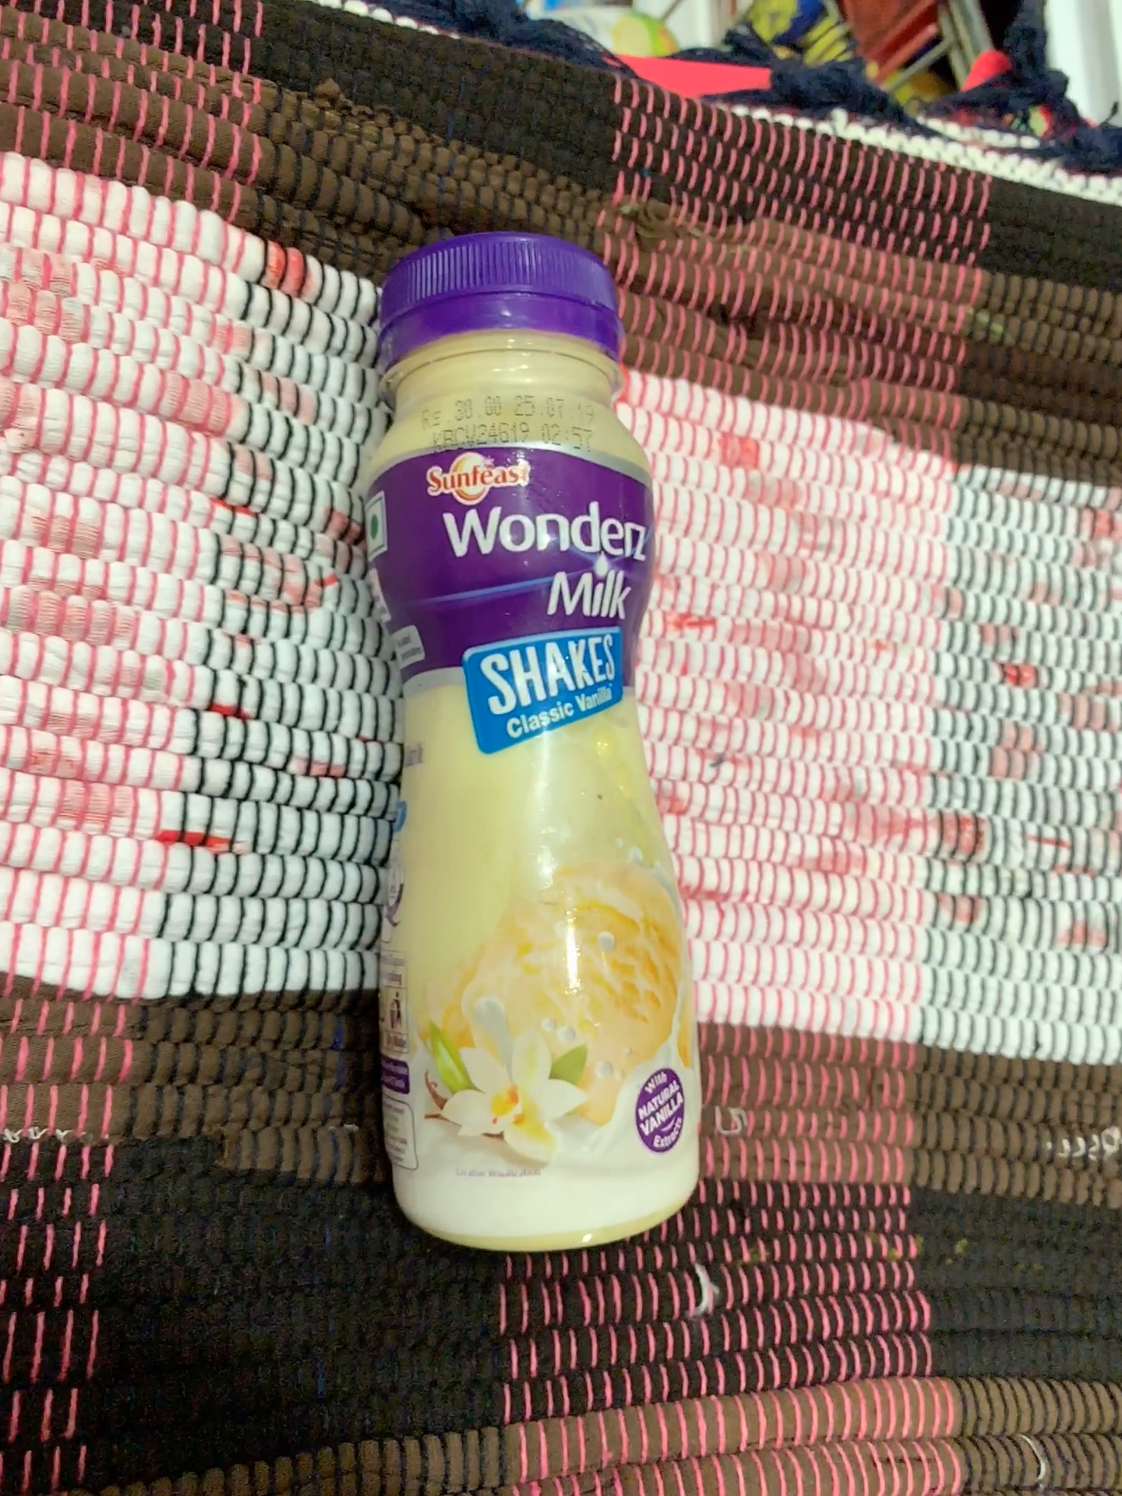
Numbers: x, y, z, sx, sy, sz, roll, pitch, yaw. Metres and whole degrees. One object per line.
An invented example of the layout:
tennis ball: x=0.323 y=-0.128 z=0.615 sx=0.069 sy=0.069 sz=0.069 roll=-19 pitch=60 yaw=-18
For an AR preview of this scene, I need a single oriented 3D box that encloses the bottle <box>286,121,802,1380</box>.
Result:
bottle: x=-0.006 y=-0.001 z=0.183 sx=0.060 sy=0.050 sz=0.160 roll=-2 pitch=87 yaw=-21
